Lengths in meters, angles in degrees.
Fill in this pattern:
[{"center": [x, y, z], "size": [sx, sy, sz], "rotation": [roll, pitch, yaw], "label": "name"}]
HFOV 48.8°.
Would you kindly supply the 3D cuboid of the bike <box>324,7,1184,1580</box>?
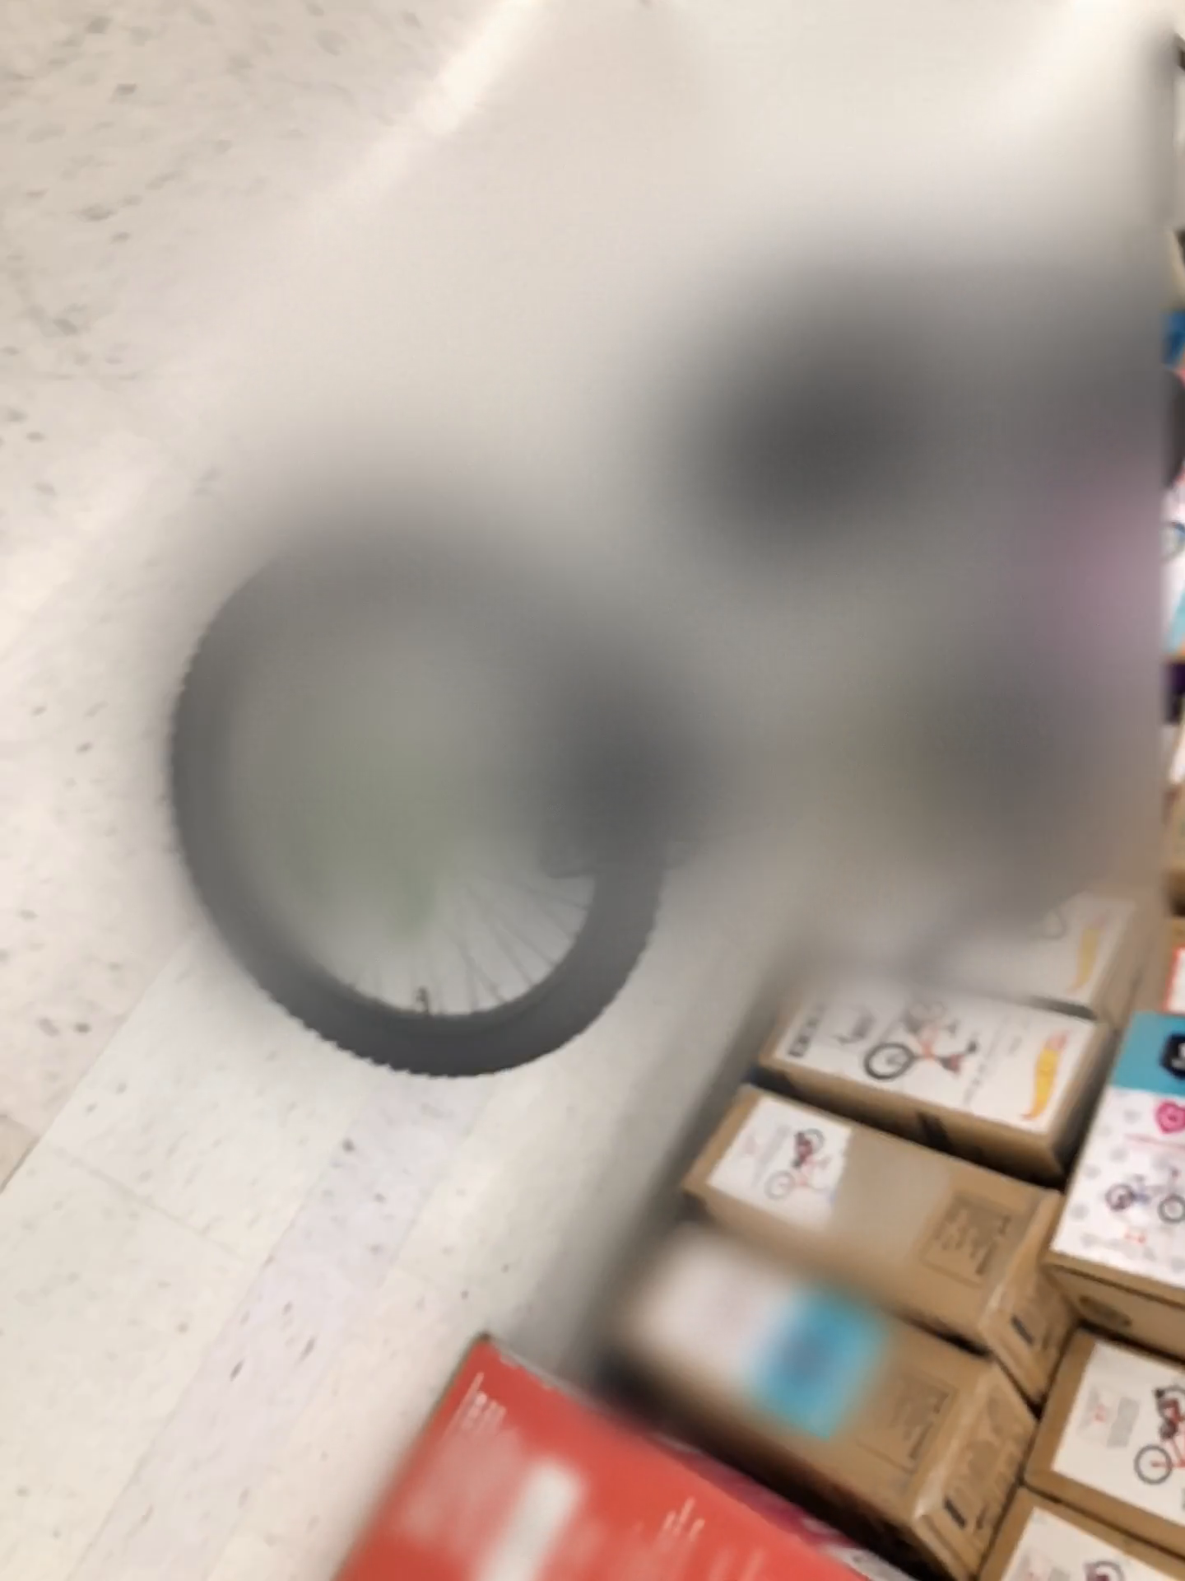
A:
[{"center": [0.416, -0.095, 1.391], "size": [1.260, 0.849, 0.524], "rotation": [-56, 128, -29], "label": "bike"}]
